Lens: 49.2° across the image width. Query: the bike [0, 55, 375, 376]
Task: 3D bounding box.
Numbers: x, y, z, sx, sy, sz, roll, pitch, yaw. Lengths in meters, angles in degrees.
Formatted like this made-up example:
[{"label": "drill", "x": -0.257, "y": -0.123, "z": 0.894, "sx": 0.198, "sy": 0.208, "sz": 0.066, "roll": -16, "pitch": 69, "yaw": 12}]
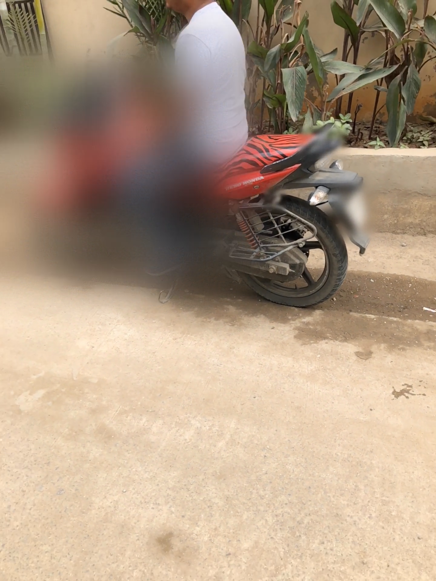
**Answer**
[{"label": "bike", "x": -0.282, "y": -0.443, "z": 2.366, "sx": 1.786, "sy": 1.207, "sz": 0.694, "roll": 10, "pitch": 35, "yaw": 21}]
